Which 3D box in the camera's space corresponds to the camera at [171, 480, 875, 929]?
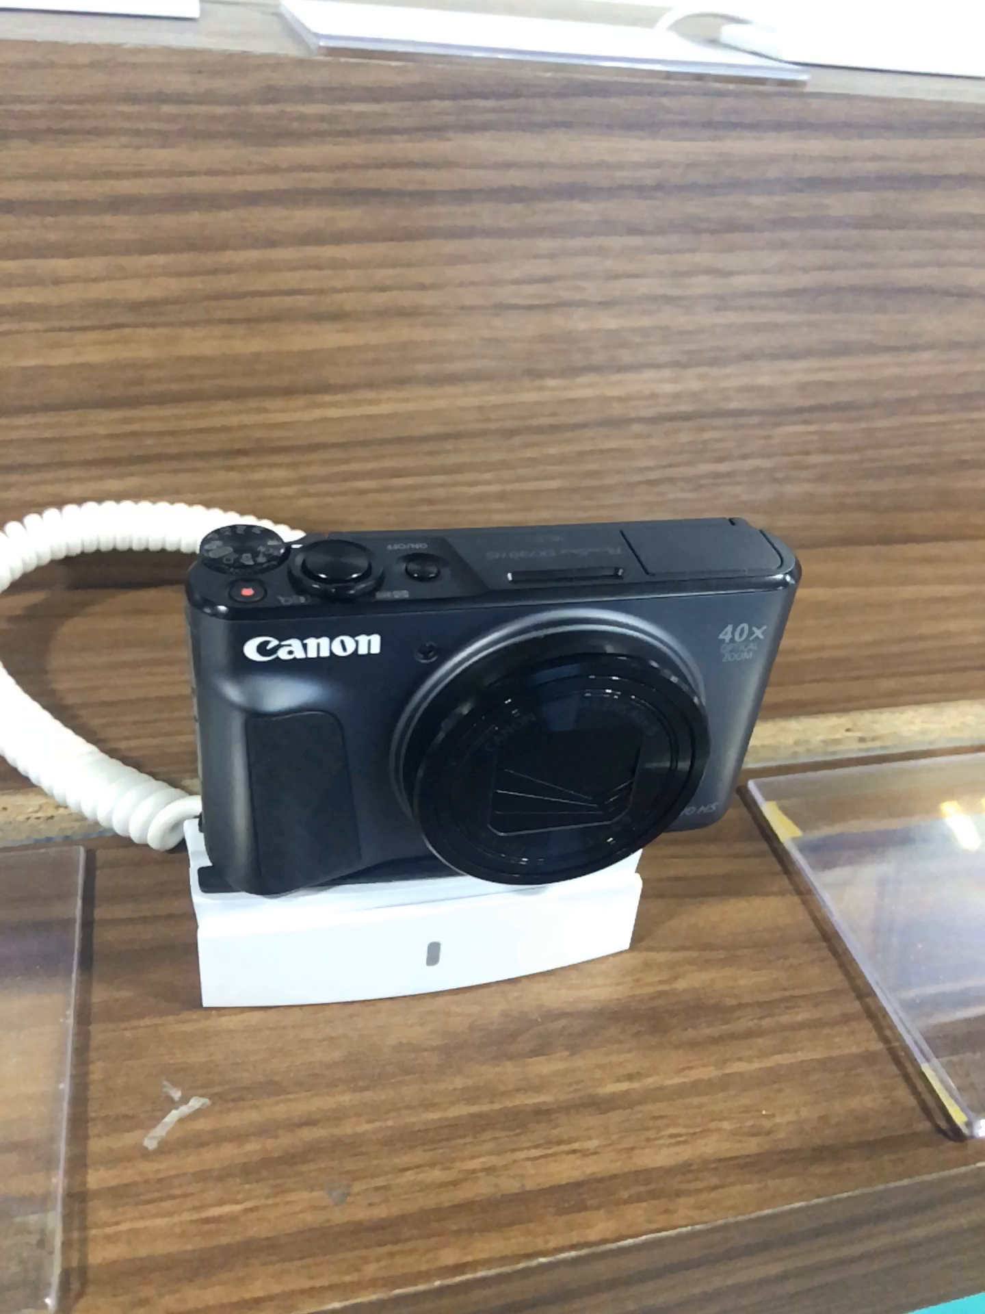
[{"bbox_3d":[0.002,0.007,0.197,0.109,0.063,0.037,-4,38,-14],"label":"camera"}]
